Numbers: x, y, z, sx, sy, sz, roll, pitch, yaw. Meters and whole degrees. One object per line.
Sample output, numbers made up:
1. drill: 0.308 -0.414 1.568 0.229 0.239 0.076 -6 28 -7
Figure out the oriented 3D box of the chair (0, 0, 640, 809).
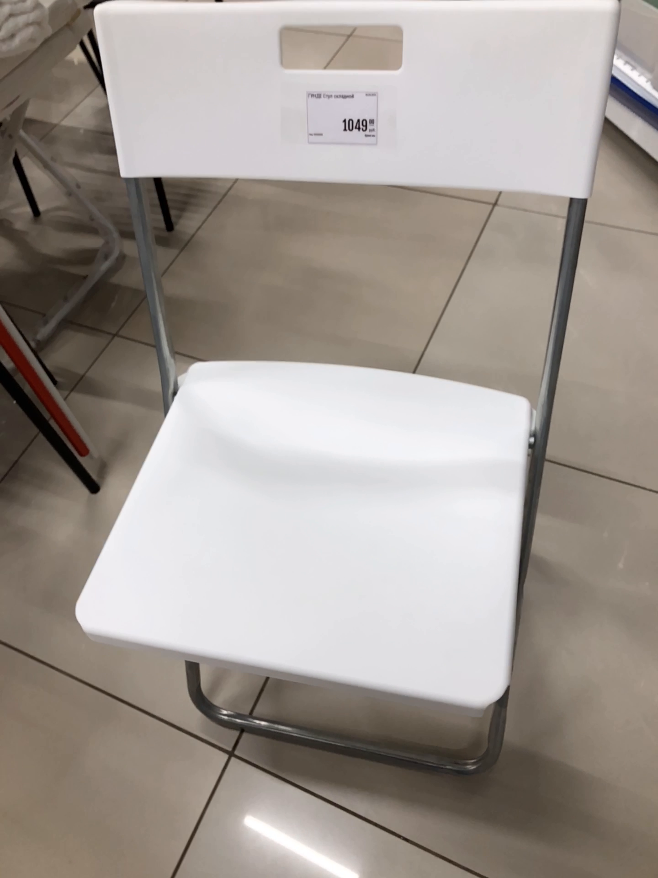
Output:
1. chair: 0.004 0.032 0.733 0.425 0.711 0.432 7 56 13
